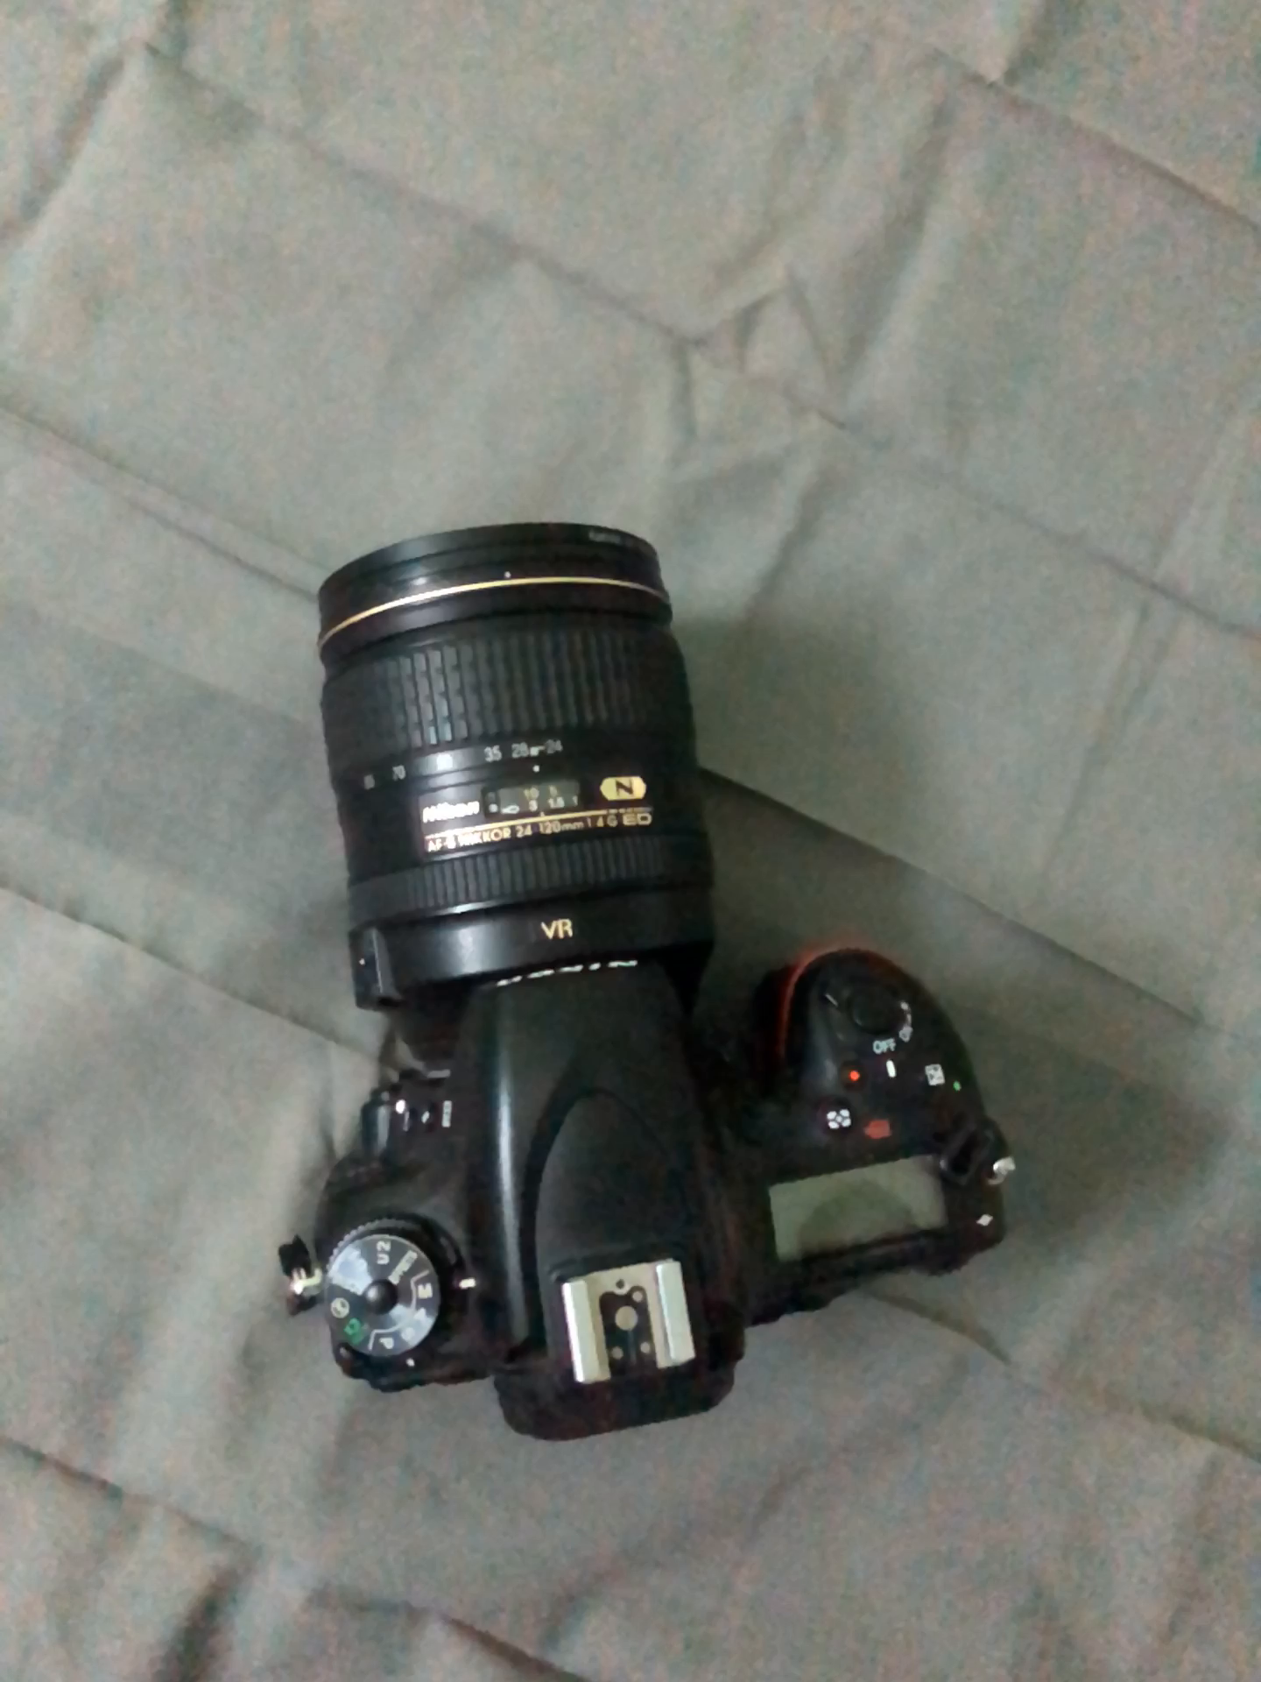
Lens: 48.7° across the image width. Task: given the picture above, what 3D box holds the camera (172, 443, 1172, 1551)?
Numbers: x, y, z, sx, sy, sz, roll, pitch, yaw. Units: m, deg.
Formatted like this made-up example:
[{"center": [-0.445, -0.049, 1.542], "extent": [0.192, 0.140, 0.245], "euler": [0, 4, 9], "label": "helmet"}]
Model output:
[{"center": [-0.001, 0.026, 0.298], "extent": [0.146, 0.135, 0.163], "euler": [-7, 84, -9], "label": "camera"}]
